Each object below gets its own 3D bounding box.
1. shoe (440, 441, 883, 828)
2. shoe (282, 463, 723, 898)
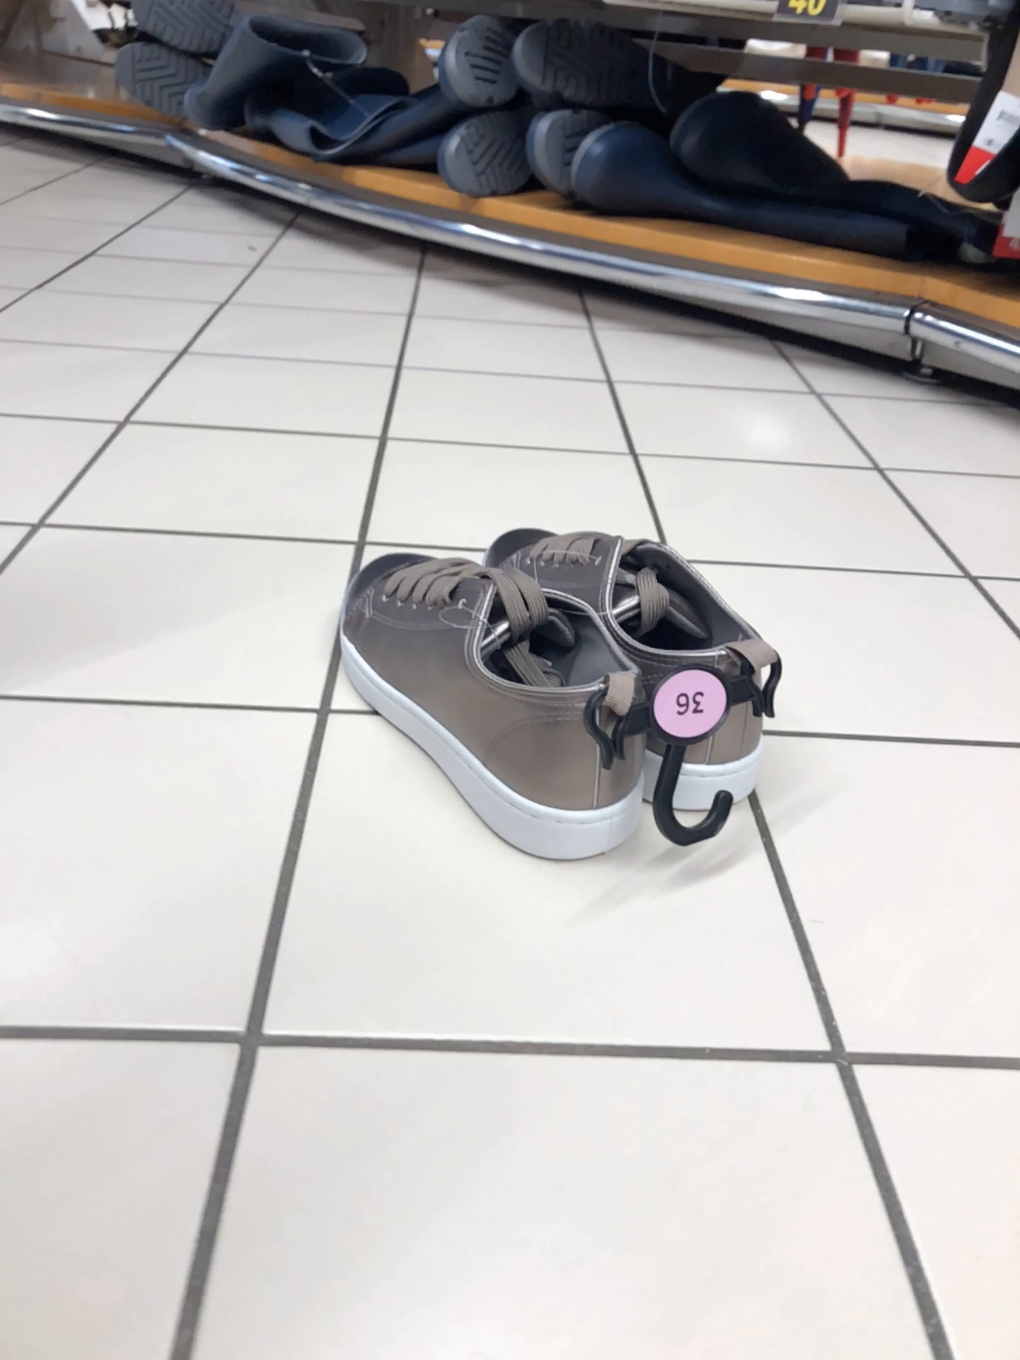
[{"bbox_3d":[0.059,-0.038,0.564,0.090,0.080,0.241,-12,35,-26],"label":"shoe"},{"bbox_3d":[-0.019,-0.017,0.522,0.090,0.080,0.241,-13,35,-28],"label":"shoe"}]
